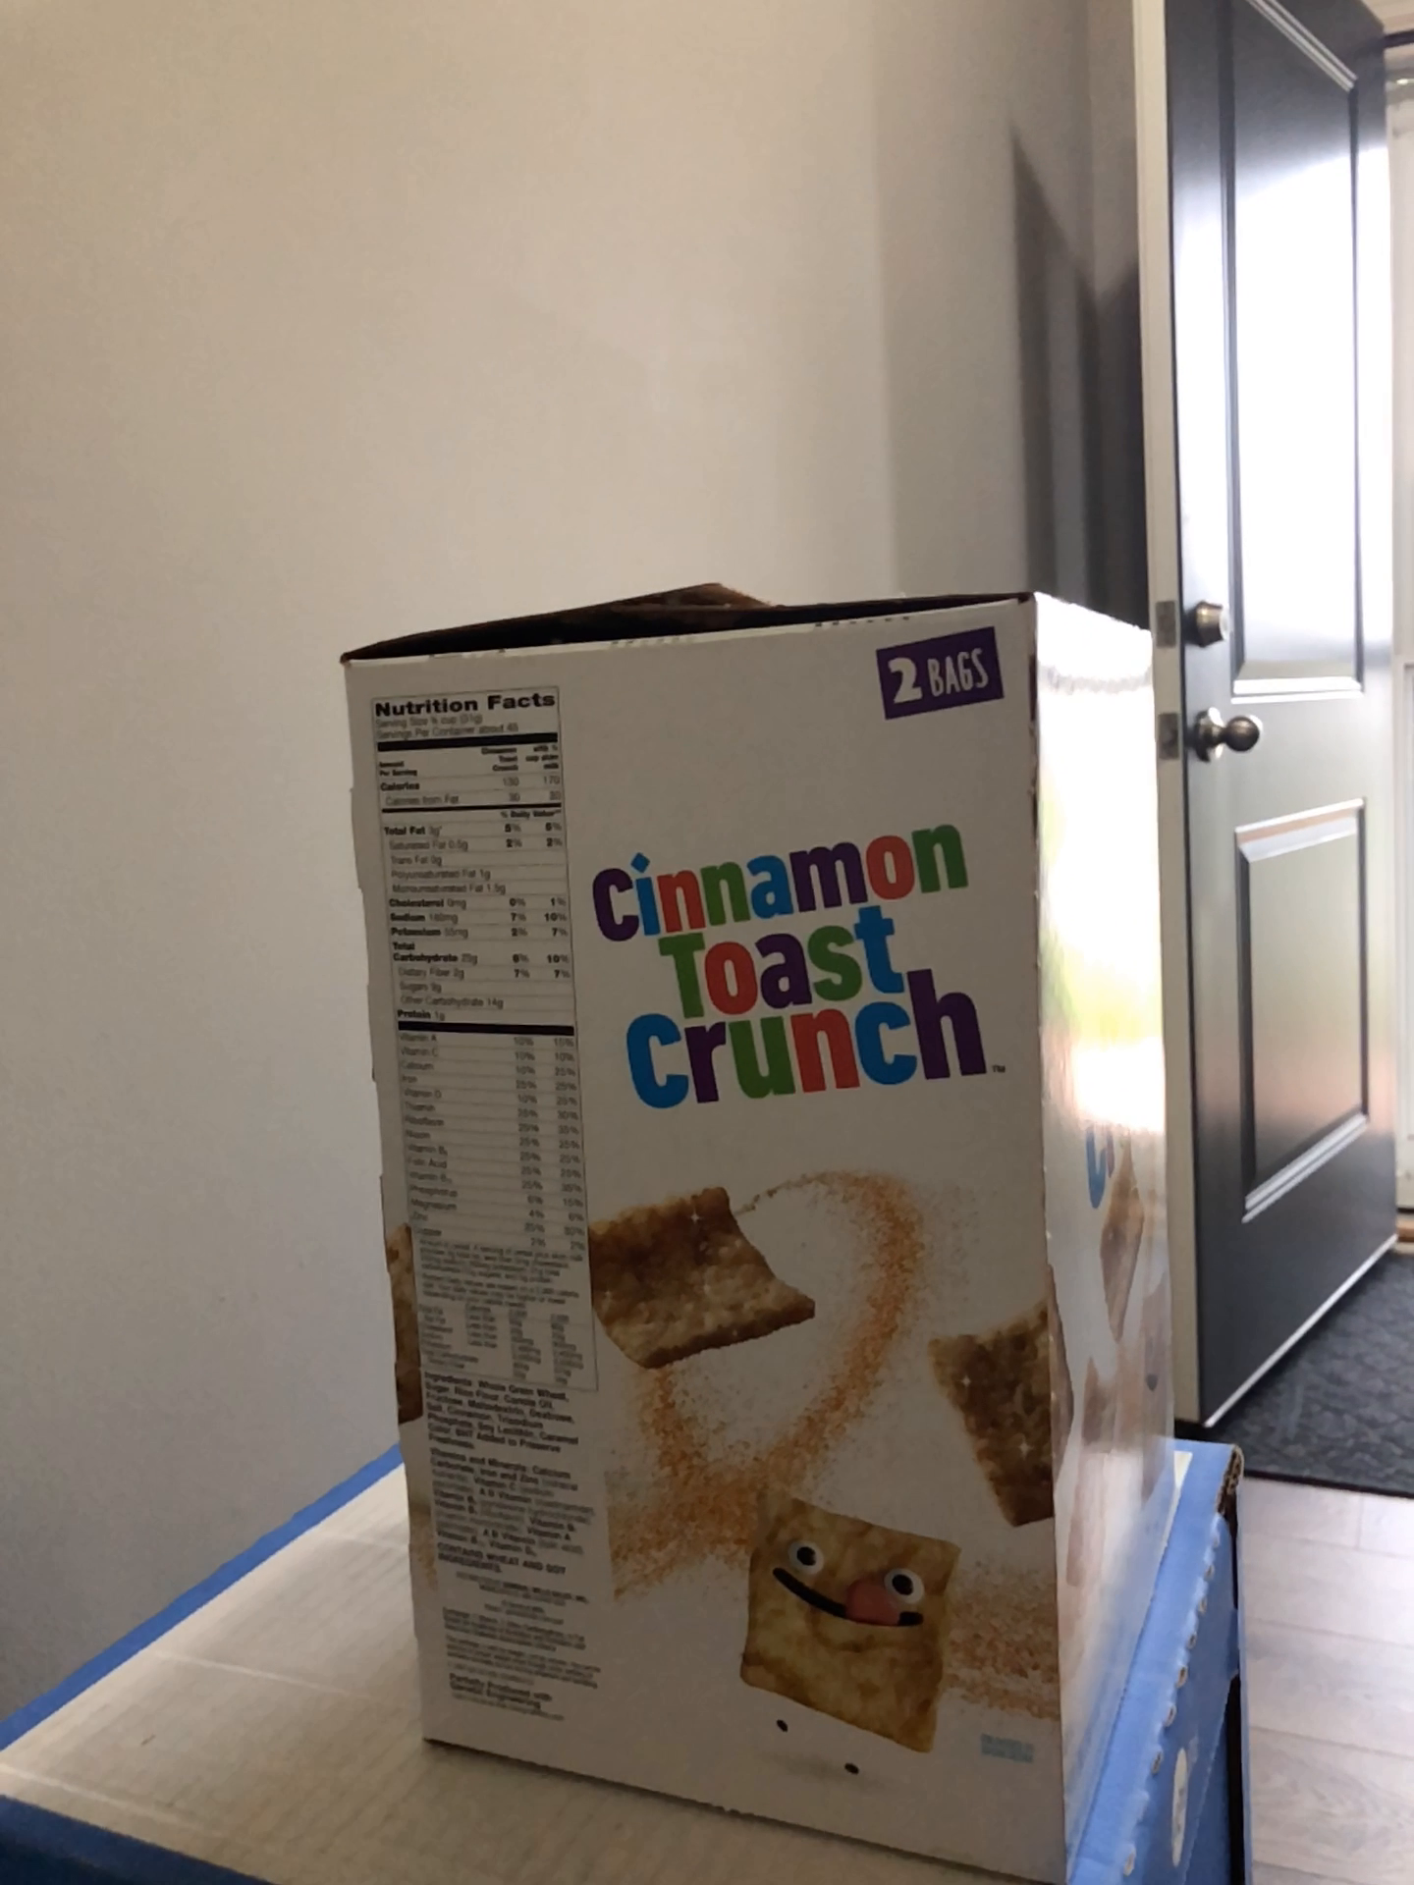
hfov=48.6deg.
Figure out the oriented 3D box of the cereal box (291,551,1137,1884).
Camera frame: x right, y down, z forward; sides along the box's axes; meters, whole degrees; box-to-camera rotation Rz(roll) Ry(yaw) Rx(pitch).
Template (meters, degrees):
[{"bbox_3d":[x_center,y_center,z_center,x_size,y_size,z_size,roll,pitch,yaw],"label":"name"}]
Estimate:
[{"bbox_3d":[0.023,0.060,0.463,0.170,0.310,0.200,-1,7,23],"label":"cereal box"}]
